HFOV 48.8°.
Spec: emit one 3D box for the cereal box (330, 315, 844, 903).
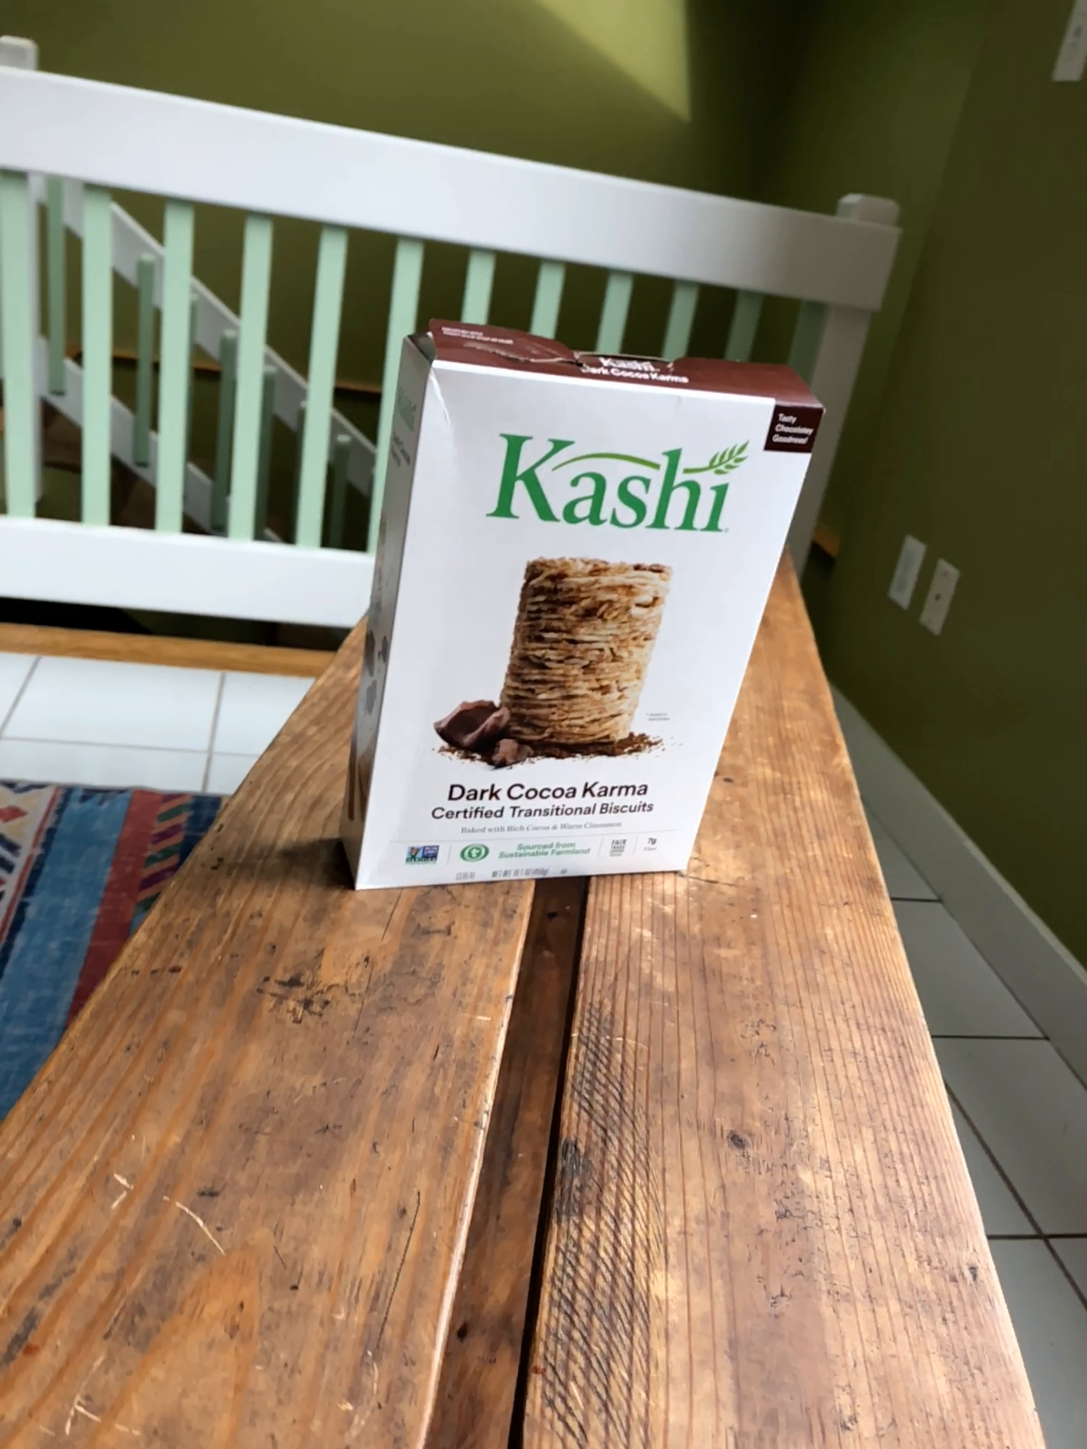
[{"bbox_3d":[0.011,-0.046,0.604,0.200,0.278,0.060,-1,31,-22],"label":"cereal box"}]
